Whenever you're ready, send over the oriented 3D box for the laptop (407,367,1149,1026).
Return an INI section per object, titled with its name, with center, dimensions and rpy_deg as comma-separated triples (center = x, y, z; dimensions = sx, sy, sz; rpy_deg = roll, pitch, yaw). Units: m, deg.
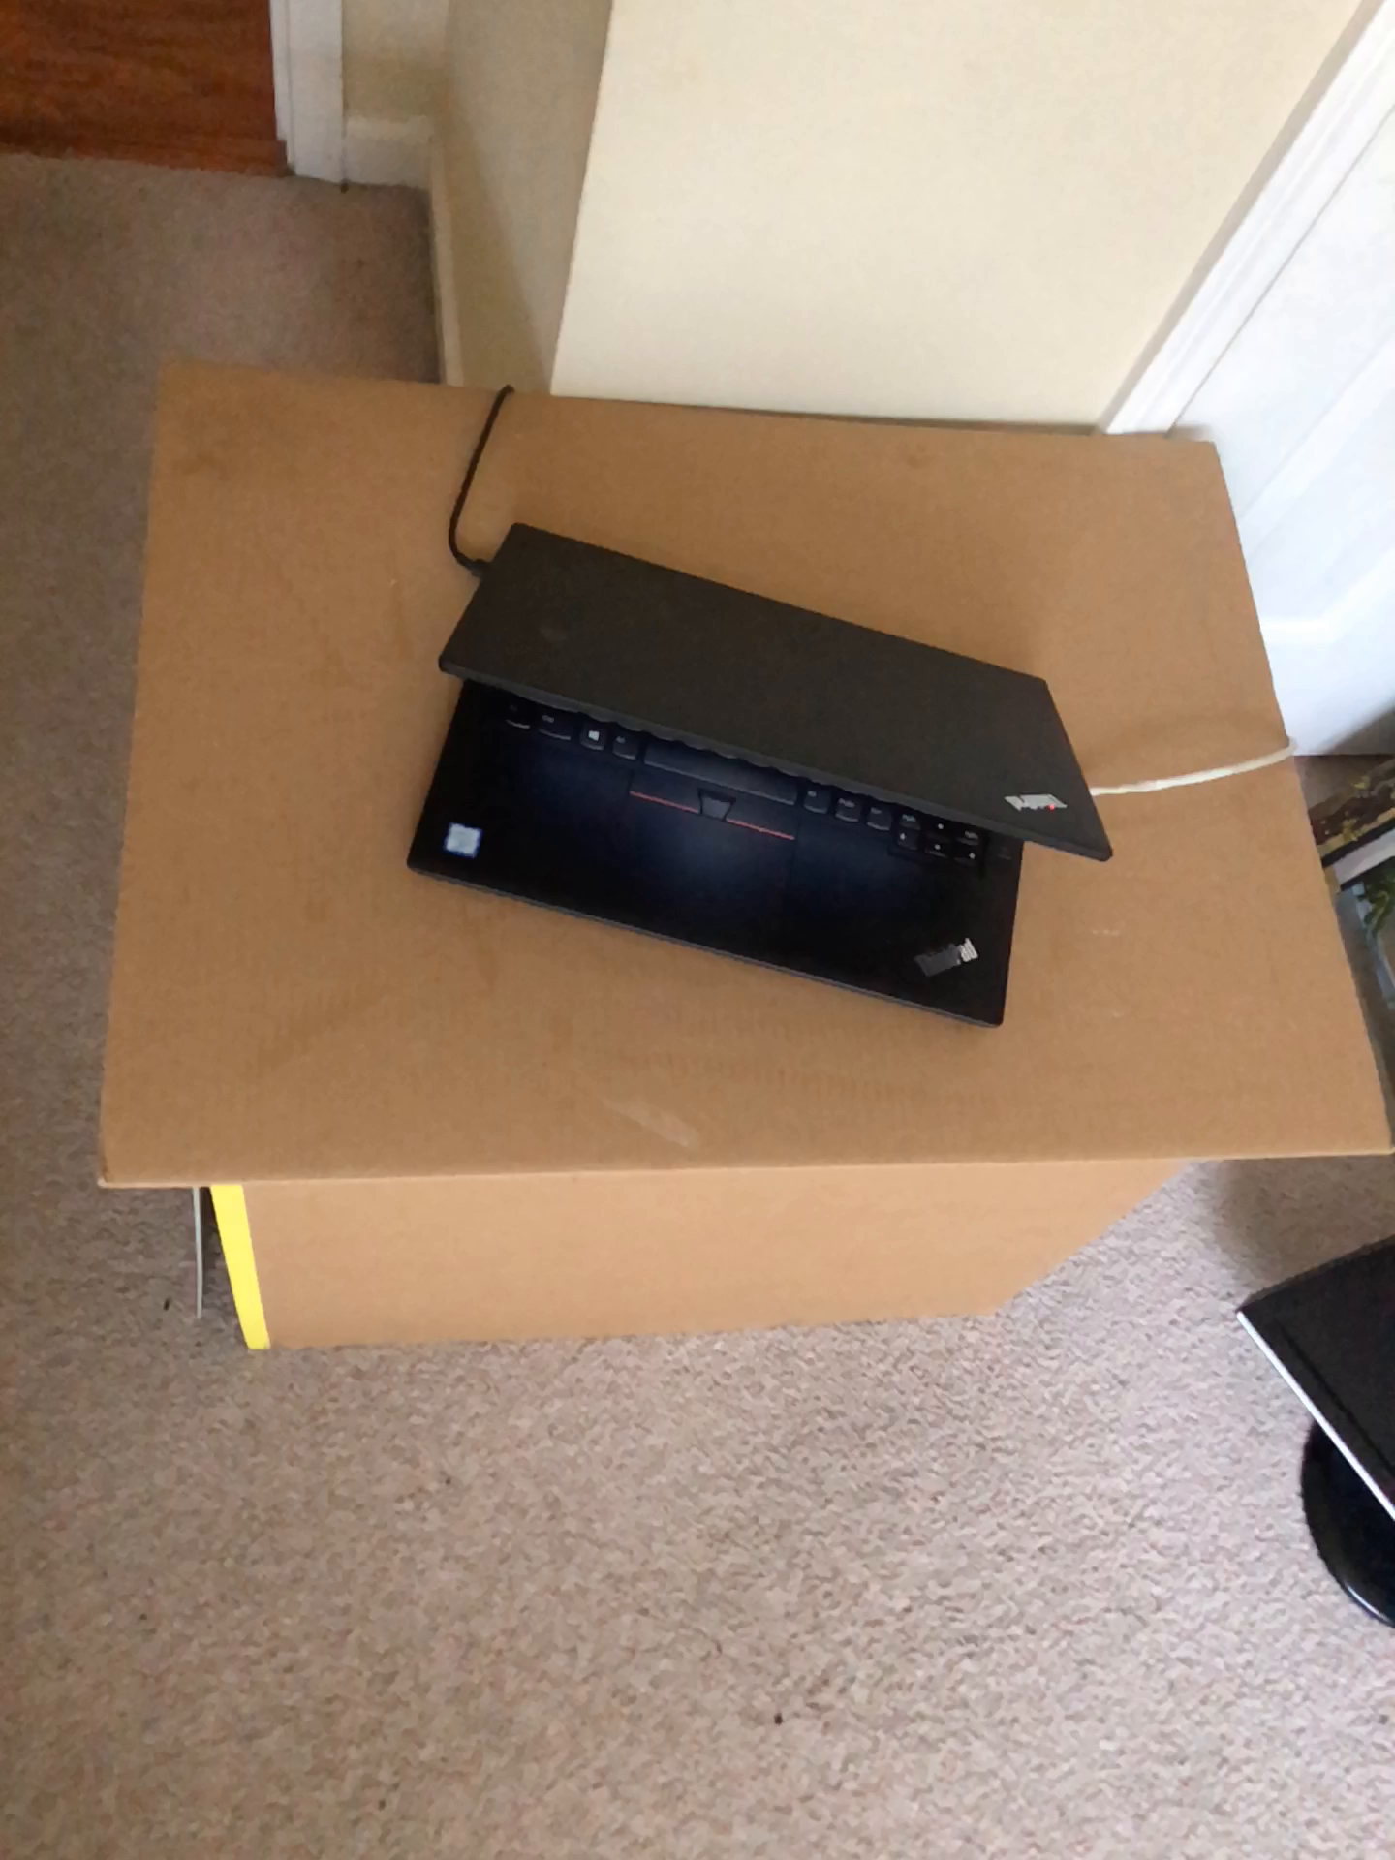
[laptop]
center = 0.045, -0.118, 0.810
dimensions = 0.334, 0.140, 0.232
rpy_deg = 15, 63, -6
